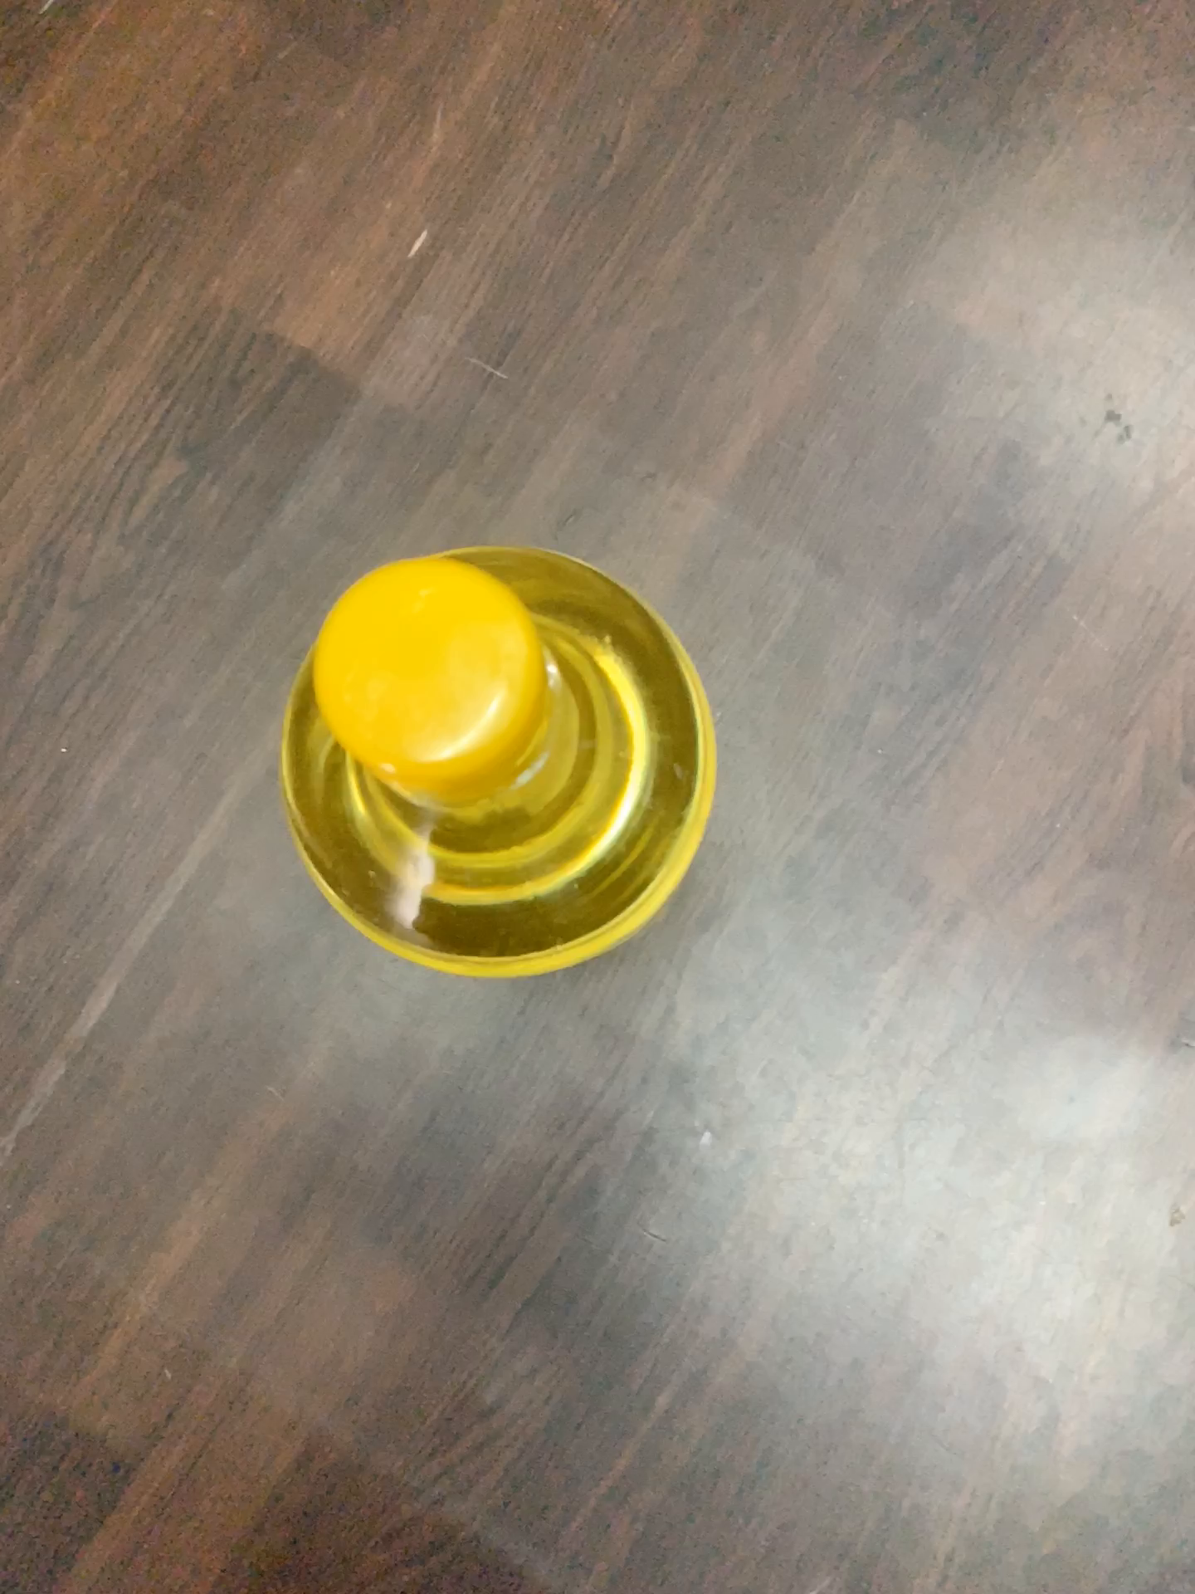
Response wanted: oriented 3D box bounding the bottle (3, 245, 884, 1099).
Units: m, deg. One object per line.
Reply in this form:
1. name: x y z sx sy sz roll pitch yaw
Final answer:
1. bottle: -0.014 -0.005 0.257 0.090 0.210 0.090 0 82 2
